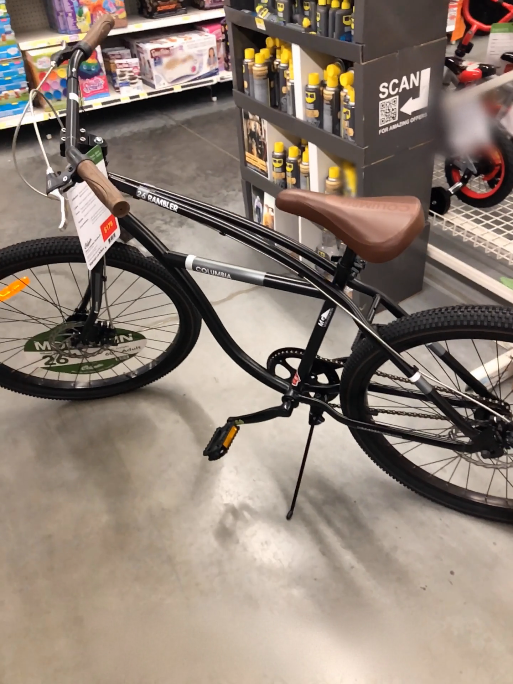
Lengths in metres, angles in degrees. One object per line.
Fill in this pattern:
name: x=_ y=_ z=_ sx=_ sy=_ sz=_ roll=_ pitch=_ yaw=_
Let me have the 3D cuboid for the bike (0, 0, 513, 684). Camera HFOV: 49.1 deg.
bike: x=-0.038 y=-0.058 z=1.051 sx=1.583 sy=0.975 sz=0.656 roll=13 pitch=42 yaw=13
